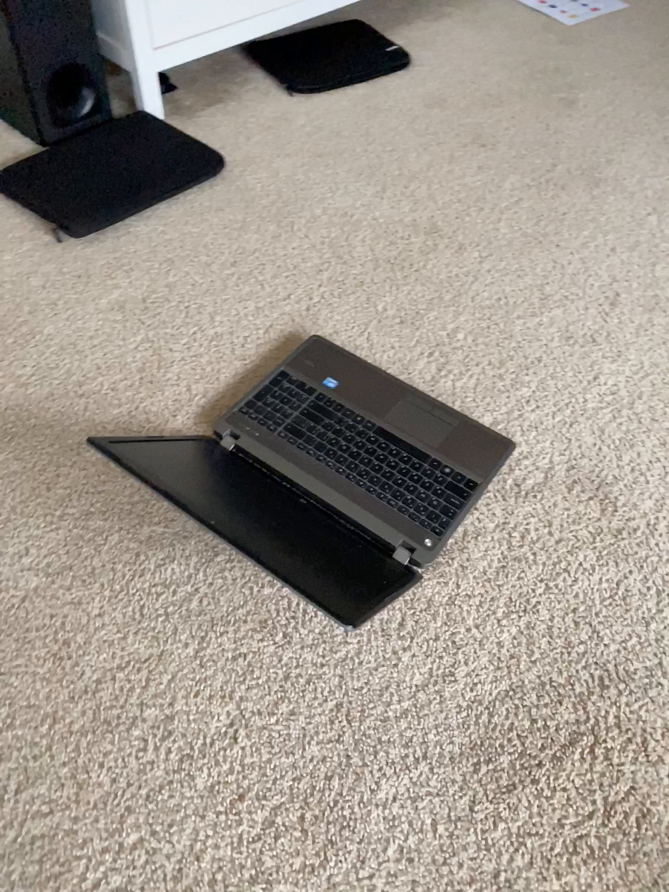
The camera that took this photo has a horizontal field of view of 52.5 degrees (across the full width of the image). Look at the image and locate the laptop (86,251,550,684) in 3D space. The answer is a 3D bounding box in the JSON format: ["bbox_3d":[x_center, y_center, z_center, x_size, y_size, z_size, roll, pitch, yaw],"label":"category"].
[{"bbox_3d":[-0.007,-0.008,0.883,0.375,0.162,0.436,31,57,20],"label":"laptop"}]
